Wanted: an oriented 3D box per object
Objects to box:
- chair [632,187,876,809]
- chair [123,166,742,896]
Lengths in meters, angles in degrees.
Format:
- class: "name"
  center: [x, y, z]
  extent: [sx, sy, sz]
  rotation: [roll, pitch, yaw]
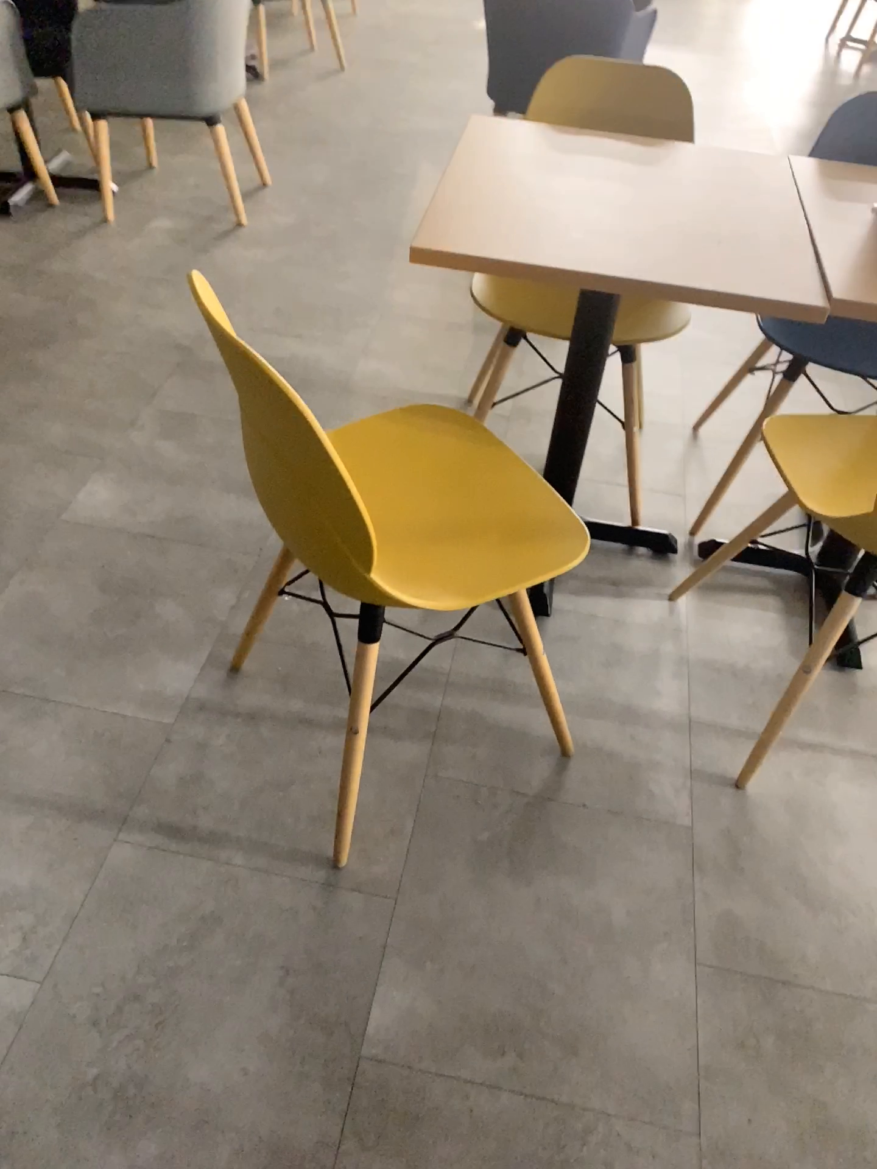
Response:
- class: "chair"
  center: [0.704, -0.113, 1.393]
  extent: [0.516, 0.781, 0.534]
  rotation: [-1, 44, -7]
- class: "chair"
  center: [-0.051, -0.076, 1.280]
  extent: [0.520, 0.781, 0.520]
  rotation: [-19, 48, -23]
